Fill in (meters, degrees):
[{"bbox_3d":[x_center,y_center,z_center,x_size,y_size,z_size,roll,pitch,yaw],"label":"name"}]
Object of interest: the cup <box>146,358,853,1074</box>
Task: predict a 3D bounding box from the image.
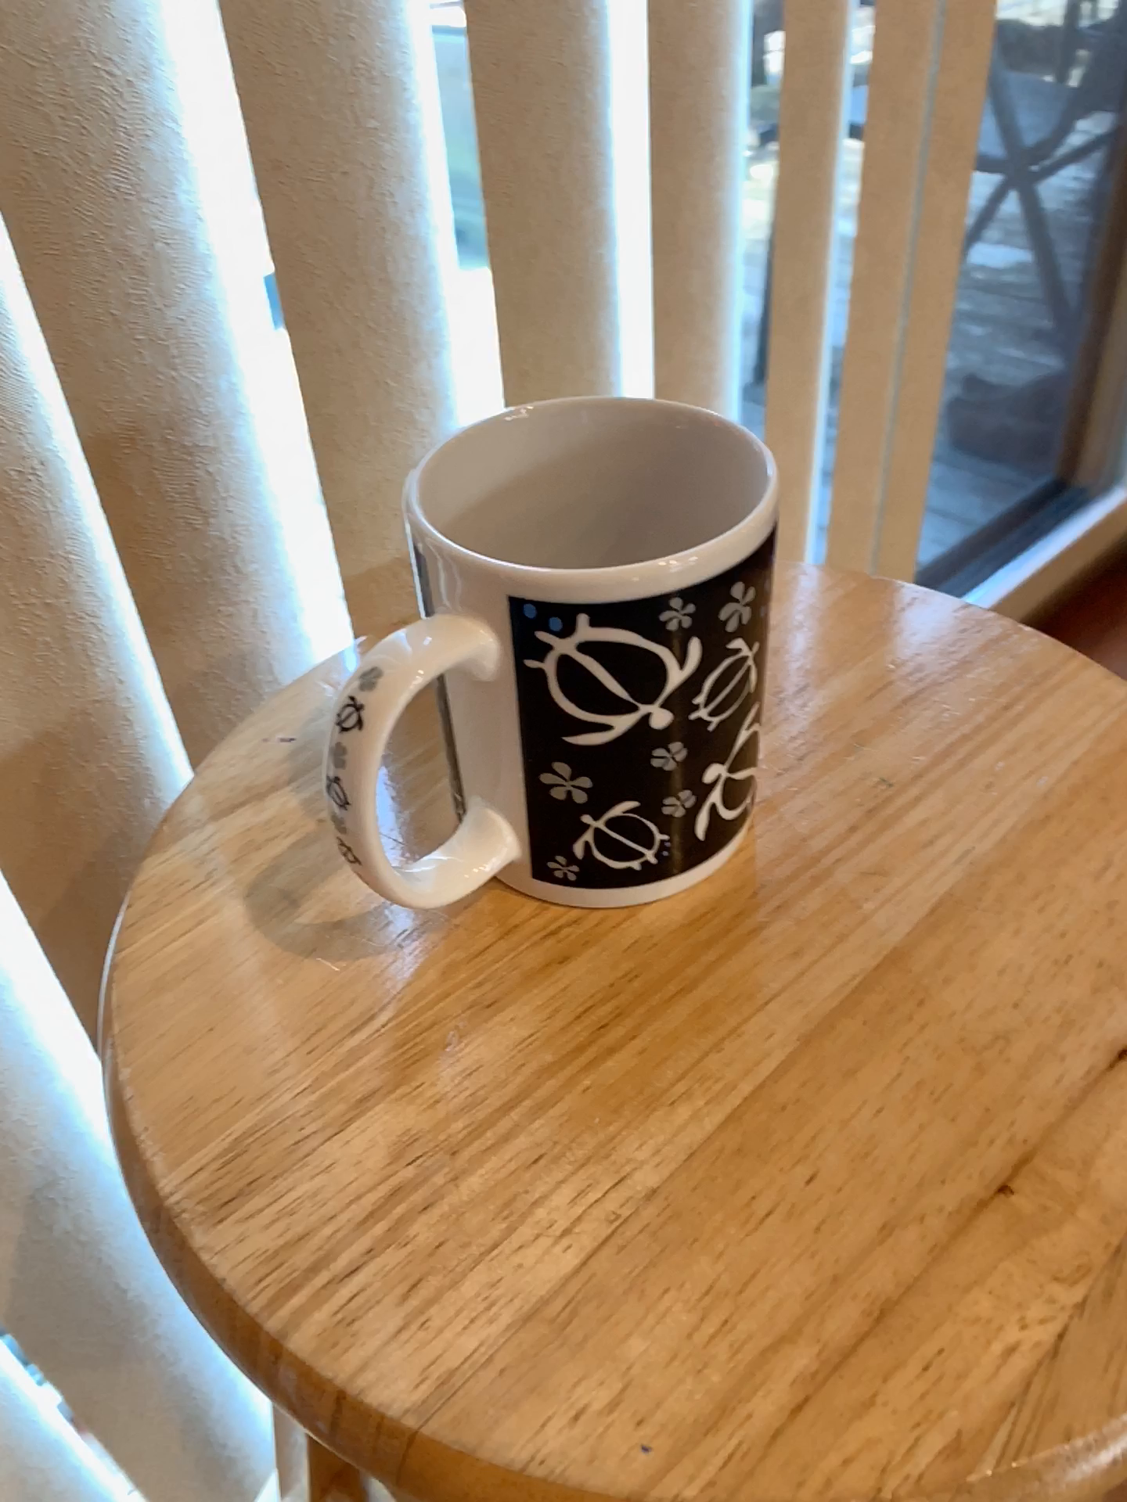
[{"bbox_3d":[-0.010,-0.016,0.278,0.120,0.099,0.090,-31,46,-28],"label":"cup"}]
